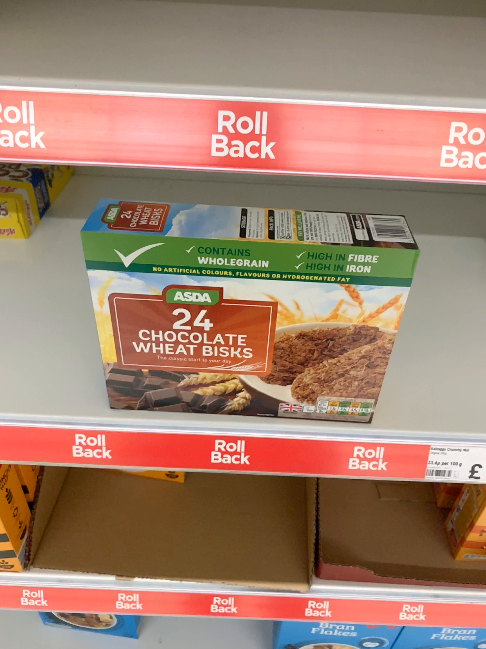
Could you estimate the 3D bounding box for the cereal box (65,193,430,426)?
[{"bbox_3d":[0.001,-0.006,0.427,0.250,0.178,0.071,3,39,0],"label":"cereal box"}]
